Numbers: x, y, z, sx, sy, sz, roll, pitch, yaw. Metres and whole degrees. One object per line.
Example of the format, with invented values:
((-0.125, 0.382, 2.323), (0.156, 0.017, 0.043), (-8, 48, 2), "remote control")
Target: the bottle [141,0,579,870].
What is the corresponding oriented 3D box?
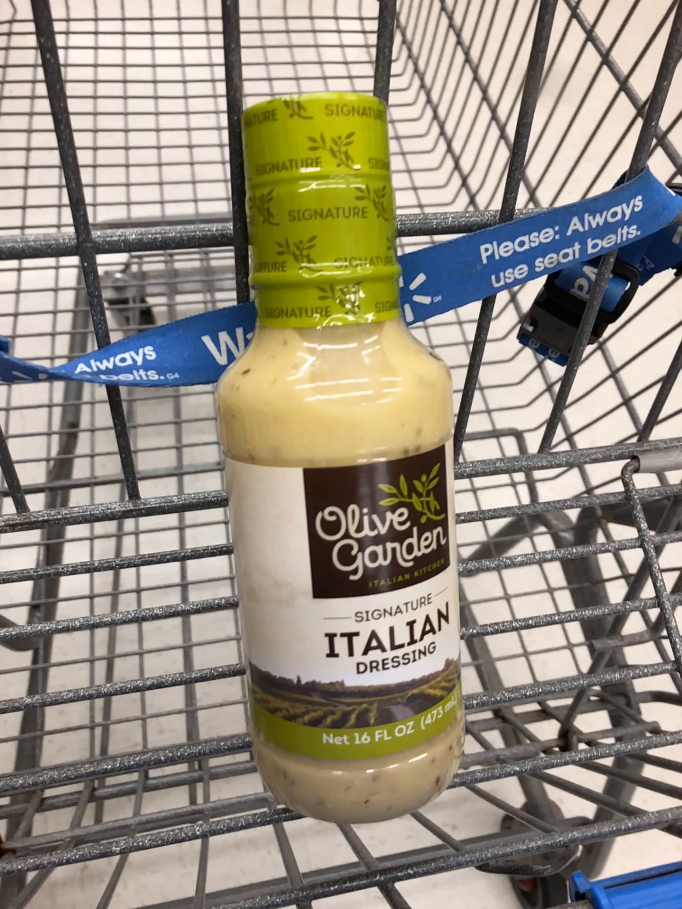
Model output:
((0.005, -0.007, 0.228), (0.080, 0.070, 0.210), (-11, 96, -26), "bottle")
